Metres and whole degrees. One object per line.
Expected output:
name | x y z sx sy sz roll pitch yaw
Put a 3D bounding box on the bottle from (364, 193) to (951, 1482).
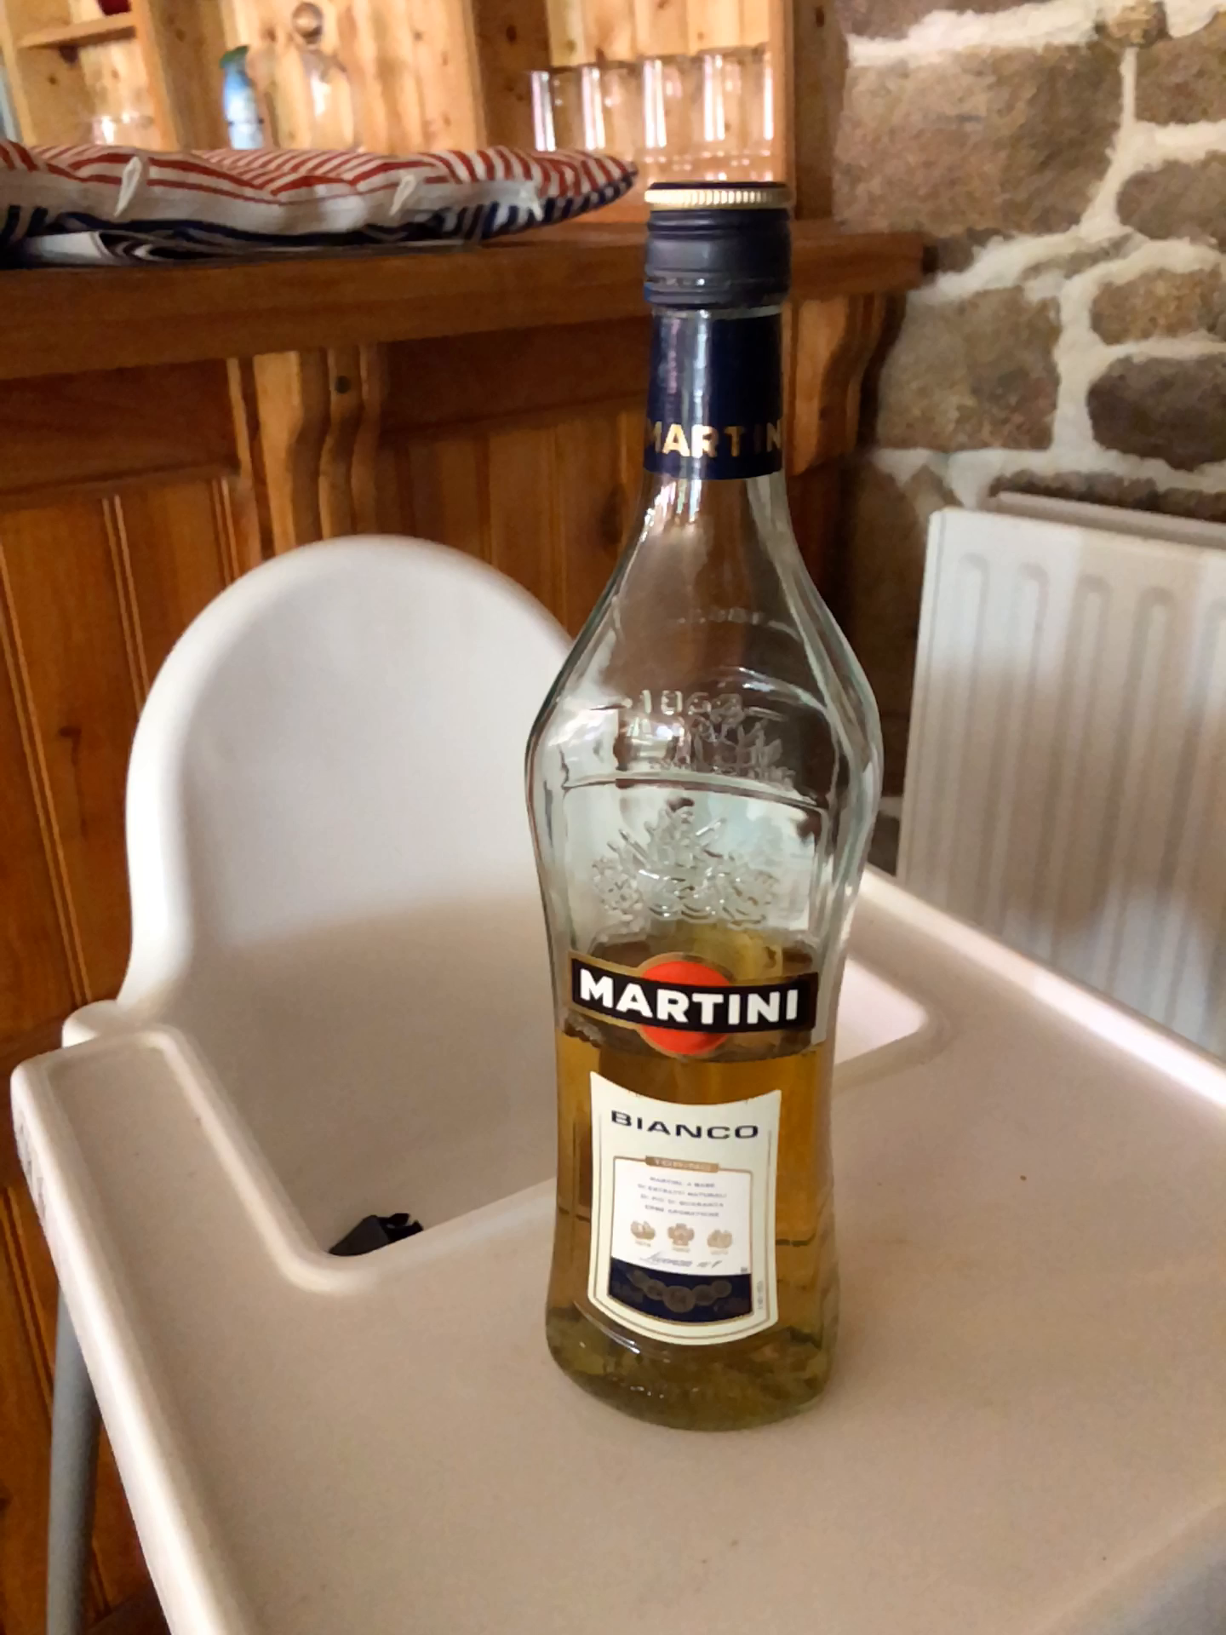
bottle | 0.017 0.014 0.352 0.110 0.318 0.080 5 24 14
